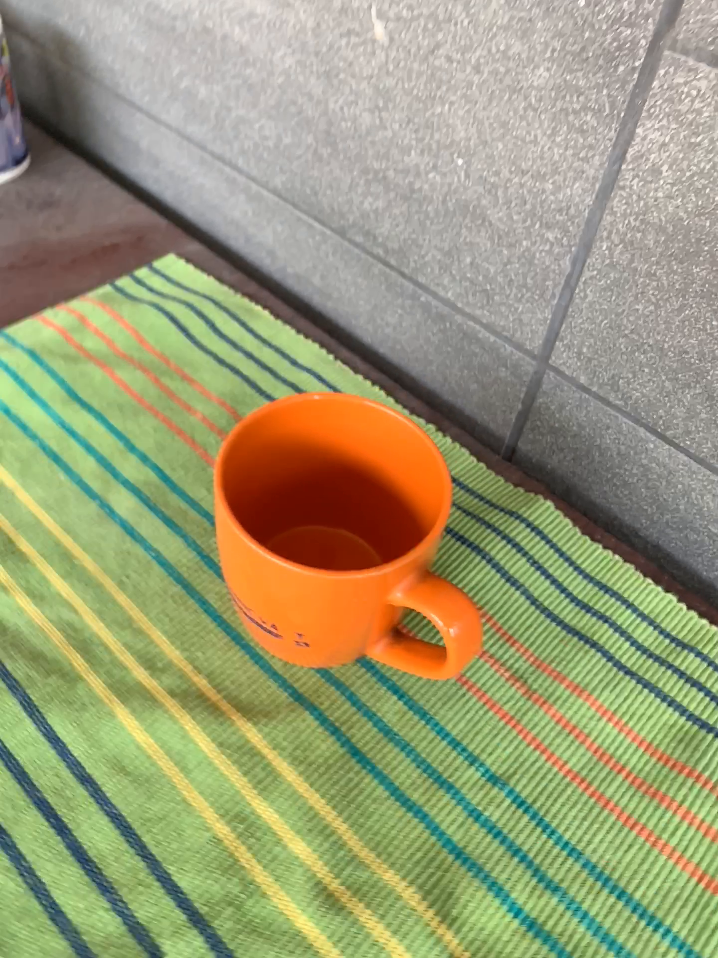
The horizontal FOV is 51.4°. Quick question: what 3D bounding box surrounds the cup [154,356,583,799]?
[{"bbox_3d":[-0.001,0.032,0.287,0.120,0.080,0.090,38,53,24],"label":"cup"}]
